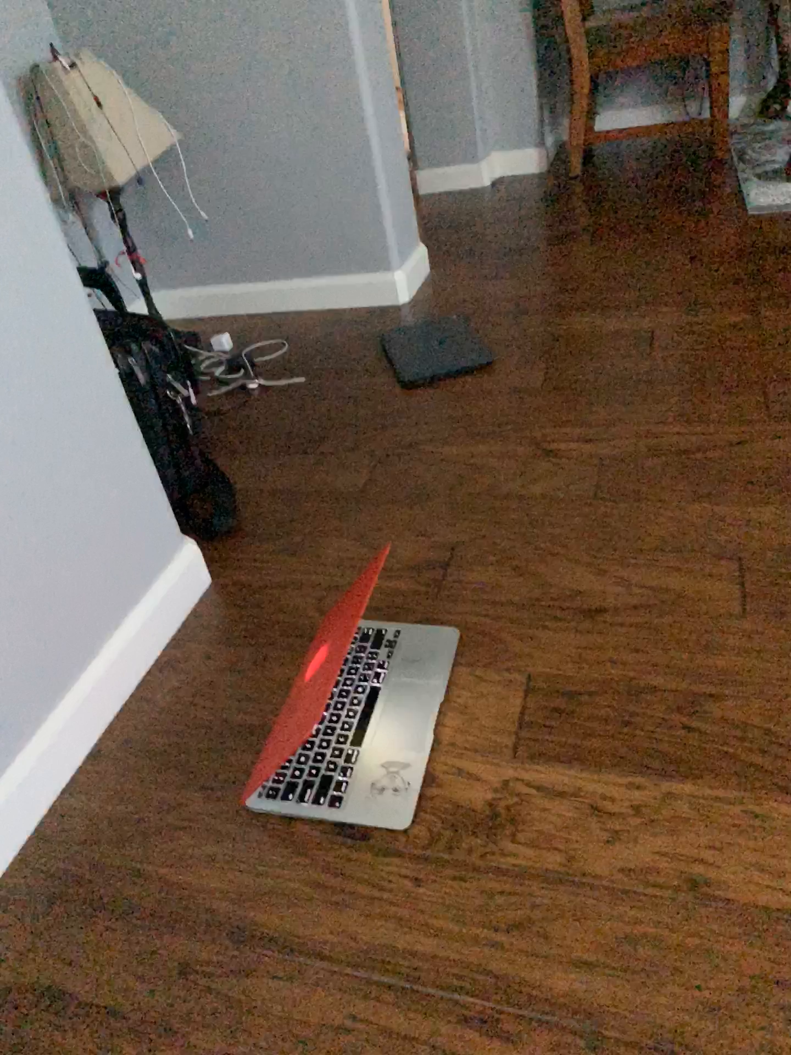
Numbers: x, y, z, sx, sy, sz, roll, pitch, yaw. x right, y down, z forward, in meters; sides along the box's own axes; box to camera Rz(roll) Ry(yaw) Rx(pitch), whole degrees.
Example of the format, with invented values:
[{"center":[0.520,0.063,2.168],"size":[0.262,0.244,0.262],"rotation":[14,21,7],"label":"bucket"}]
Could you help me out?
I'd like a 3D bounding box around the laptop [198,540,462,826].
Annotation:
[{"center":[-0.054,0.159,0.929],"size":[0.197,0.139,0.303],"rotation":[0,34,16],"label":"laptop"}]
